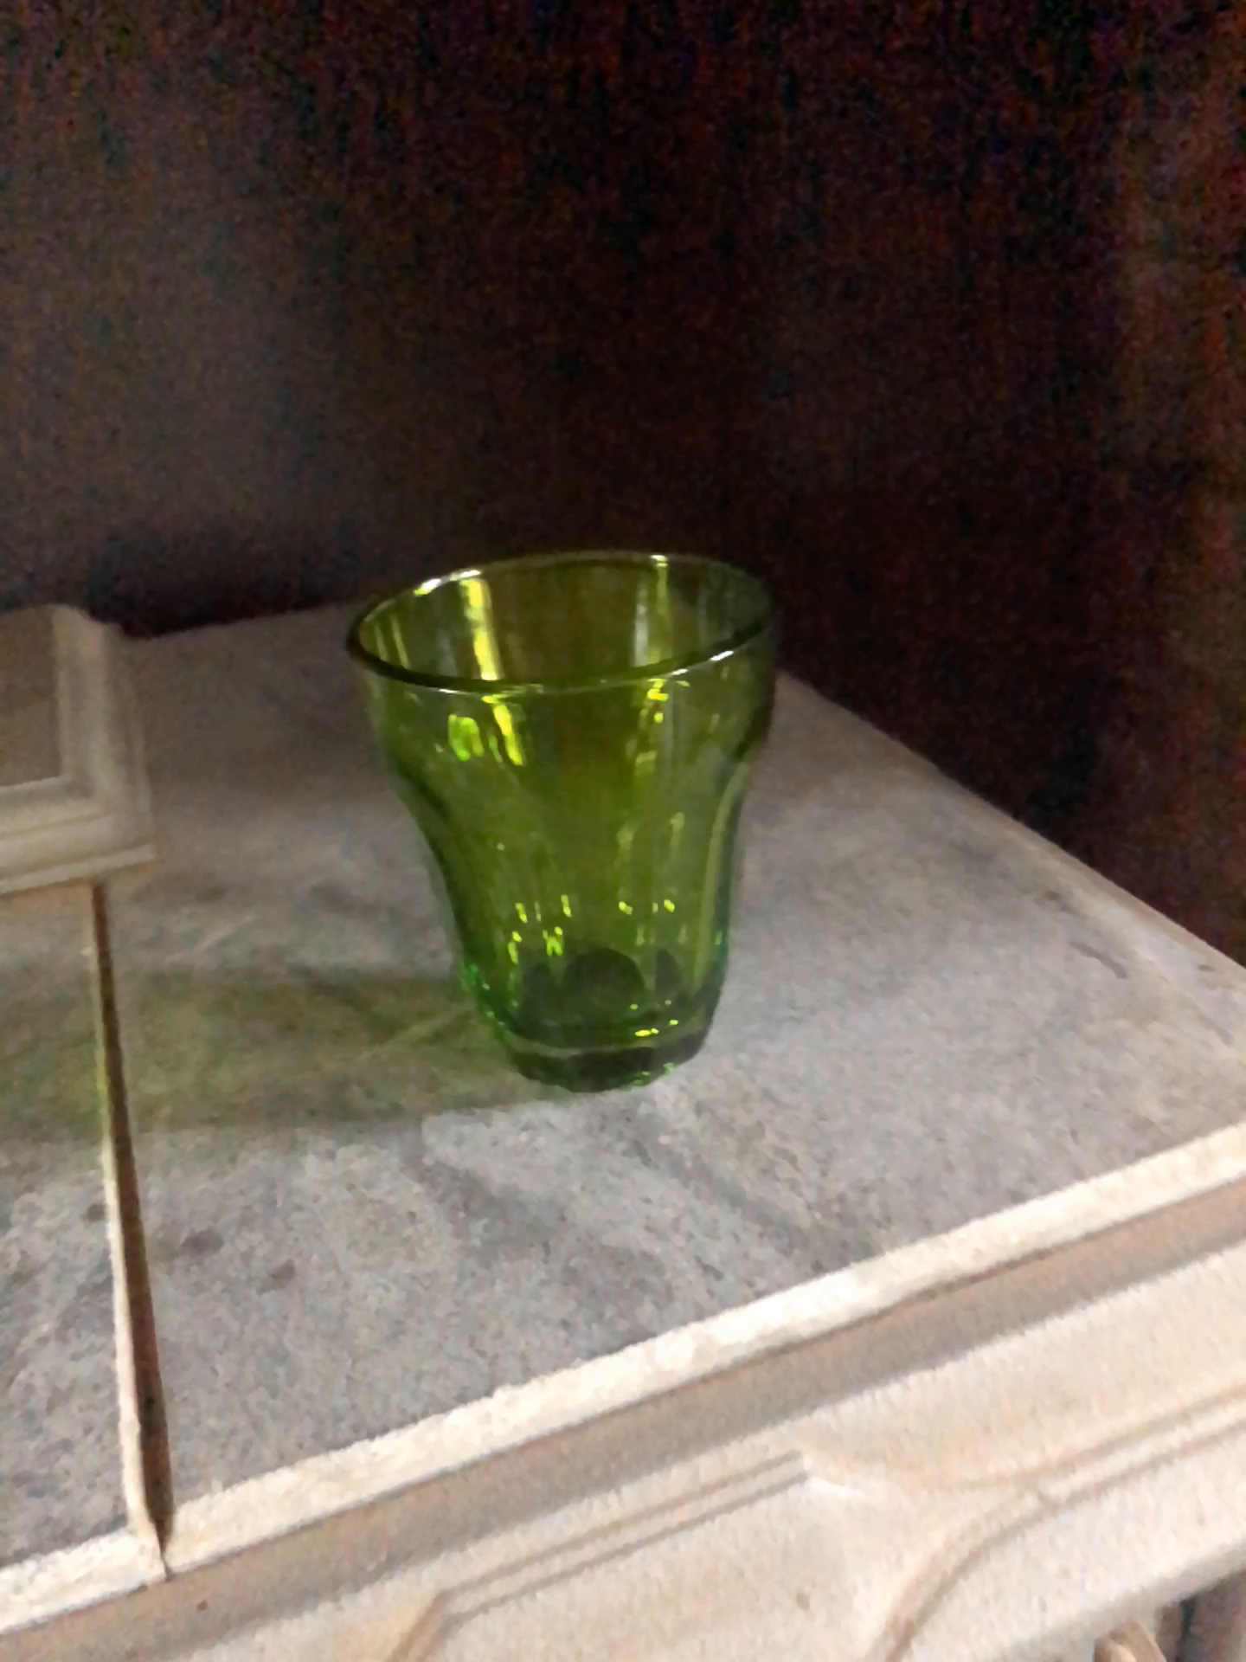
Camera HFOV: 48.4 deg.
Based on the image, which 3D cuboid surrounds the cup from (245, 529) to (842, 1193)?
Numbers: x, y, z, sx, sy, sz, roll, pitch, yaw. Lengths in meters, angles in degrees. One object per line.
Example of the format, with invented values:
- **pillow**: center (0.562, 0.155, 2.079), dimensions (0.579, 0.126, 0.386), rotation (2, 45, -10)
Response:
- **cup**: center (-0.016, -0.001, 0.256), dimensions (0.080, 0.080, 0.080), rotation (-4, 26, 2)
